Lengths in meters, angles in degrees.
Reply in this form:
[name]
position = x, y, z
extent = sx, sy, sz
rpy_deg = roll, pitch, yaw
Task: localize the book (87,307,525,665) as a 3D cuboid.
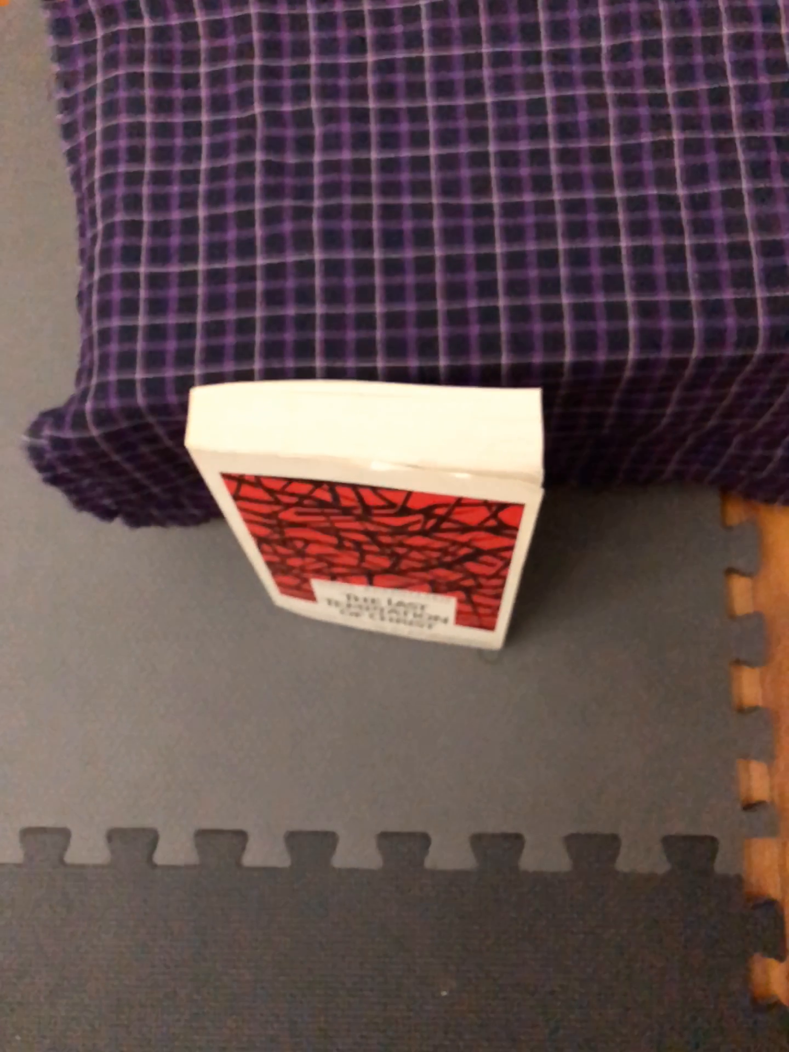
[book]
position = -0.023, -0.004, 0.411
extent = 0.150, 0.210, 0.050
rpy_deg = 14, 70, 12
